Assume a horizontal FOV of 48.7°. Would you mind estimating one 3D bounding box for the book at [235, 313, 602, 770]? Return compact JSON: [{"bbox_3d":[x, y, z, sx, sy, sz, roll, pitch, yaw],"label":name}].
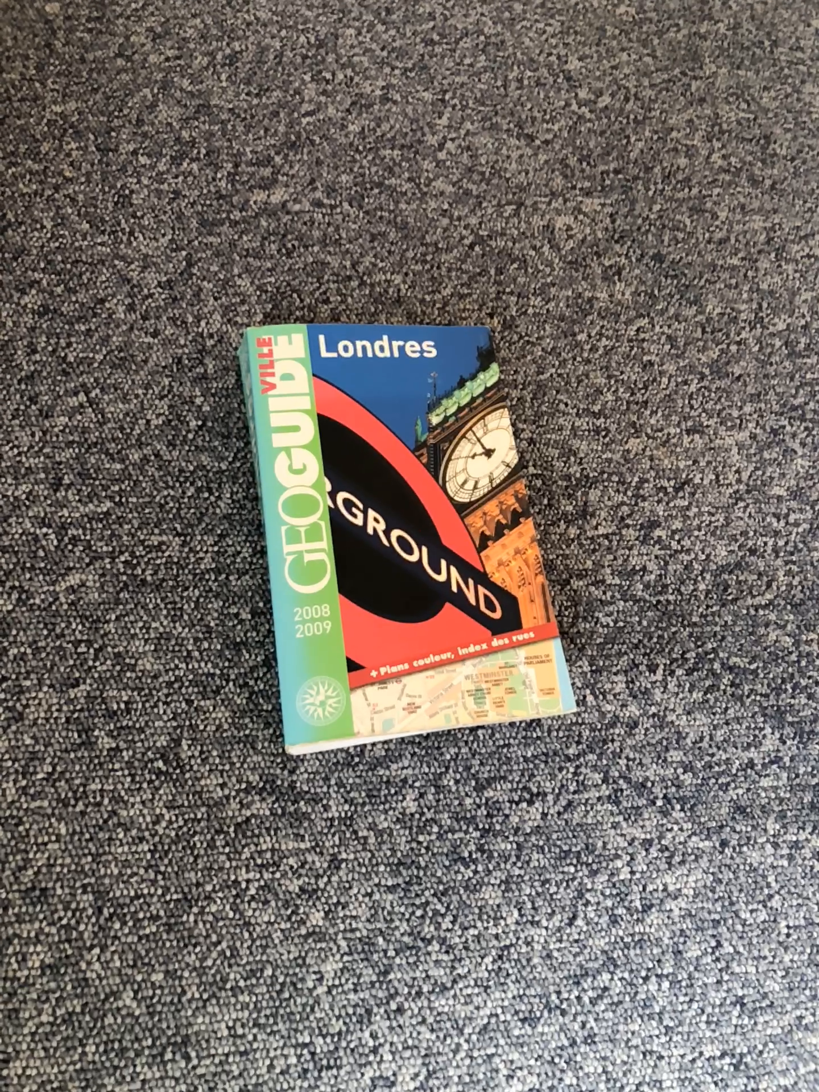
[{"bbox_3d":[-0.003,-0.012,0.405,0.130,0.030,0.200,-4,68,-14],"label":"book"}]
